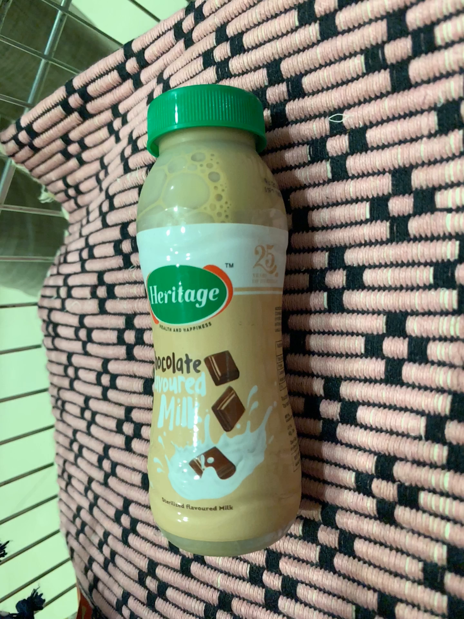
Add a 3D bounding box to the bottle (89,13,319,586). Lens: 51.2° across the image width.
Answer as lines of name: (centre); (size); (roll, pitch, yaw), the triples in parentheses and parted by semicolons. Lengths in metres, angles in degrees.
bottle: (-0.006, -0.003, 0.152); (0.050, 0.050, 0.140); (-1, 86, 32)
